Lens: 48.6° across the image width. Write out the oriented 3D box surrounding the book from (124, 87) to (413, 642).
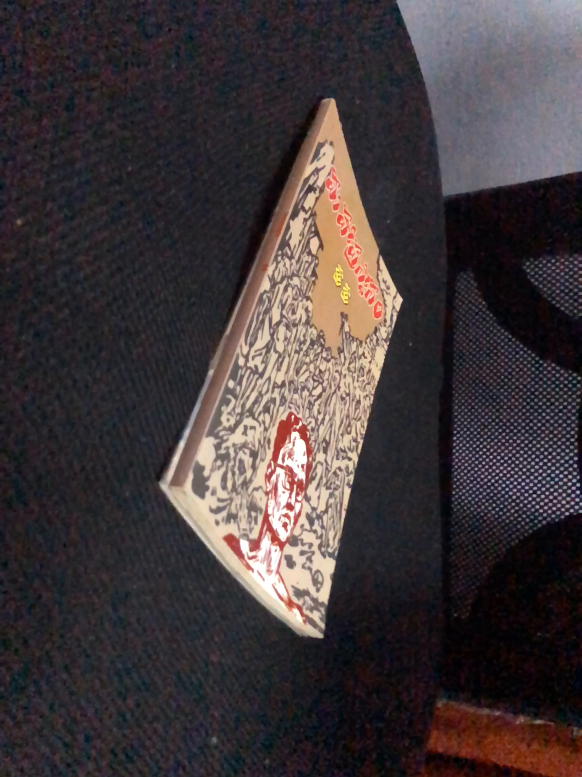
[{"bbox_3d":[0.013,-0.014,0.306,0.141,0.018,0.220,59,42,-47],"label":"book"}]
